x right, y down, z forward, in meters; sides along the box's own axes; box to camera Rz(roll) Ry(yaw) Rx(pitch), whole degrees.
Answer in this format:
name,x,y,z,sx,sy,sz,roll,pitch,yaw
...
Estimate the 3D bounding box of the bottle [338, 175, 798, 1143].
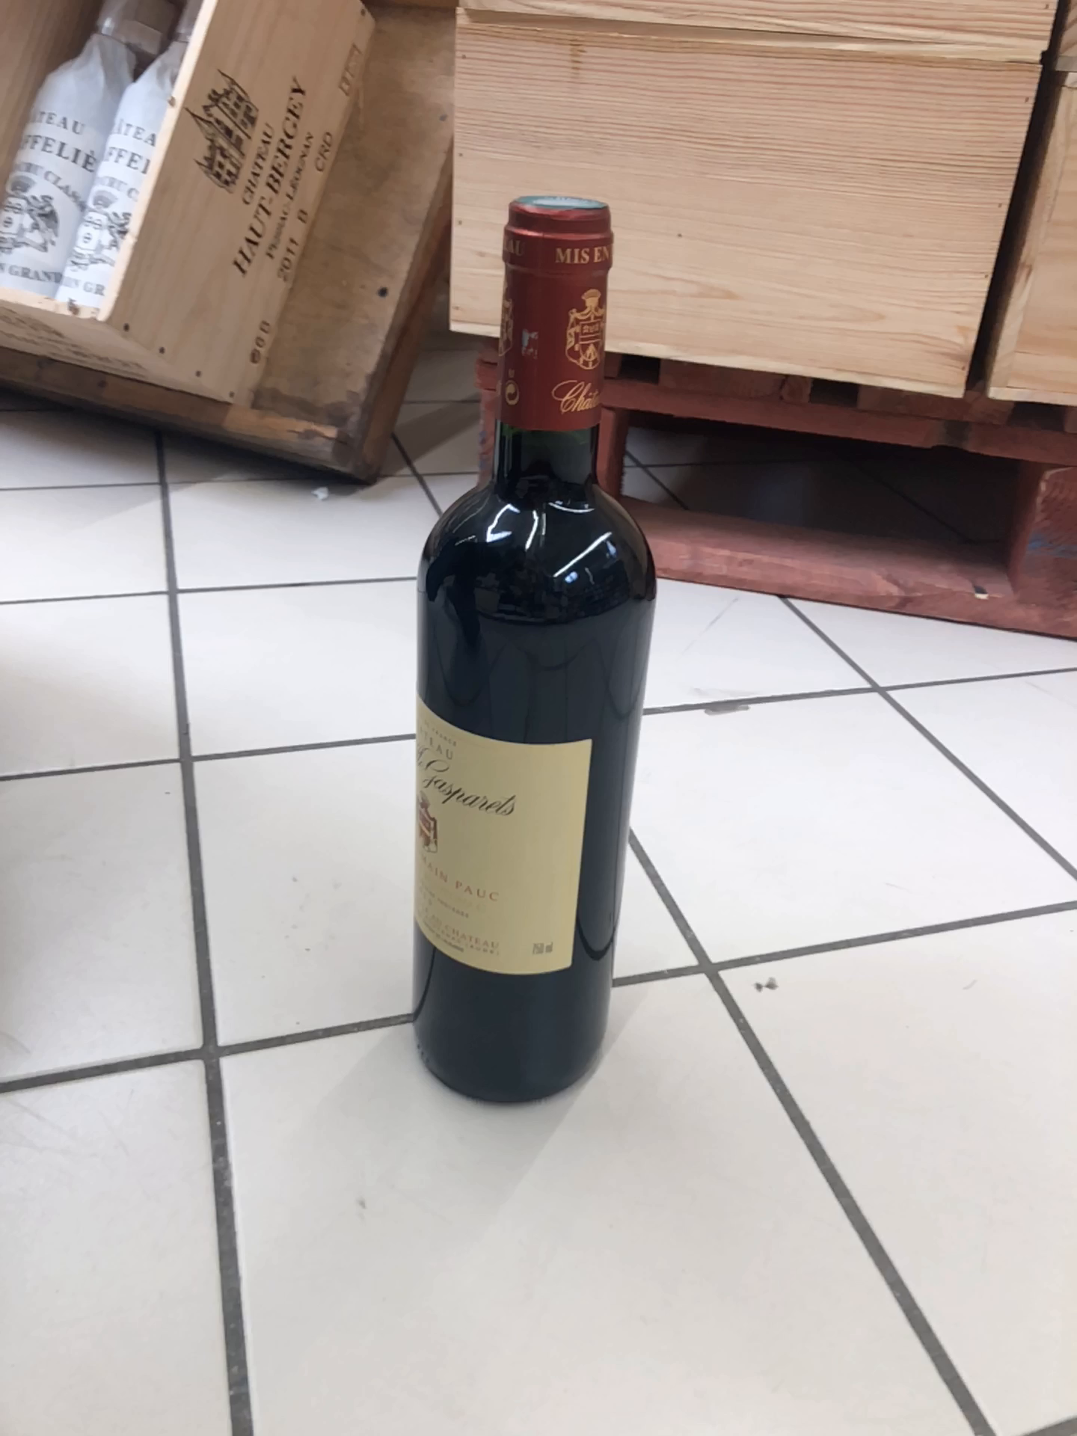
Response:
name,x,y,z,sx,sy,sz,roll,pitch,yaw
bottle,-0.003,-0.010,0.376,0.090,0.288,0.080,-14,35,-28
